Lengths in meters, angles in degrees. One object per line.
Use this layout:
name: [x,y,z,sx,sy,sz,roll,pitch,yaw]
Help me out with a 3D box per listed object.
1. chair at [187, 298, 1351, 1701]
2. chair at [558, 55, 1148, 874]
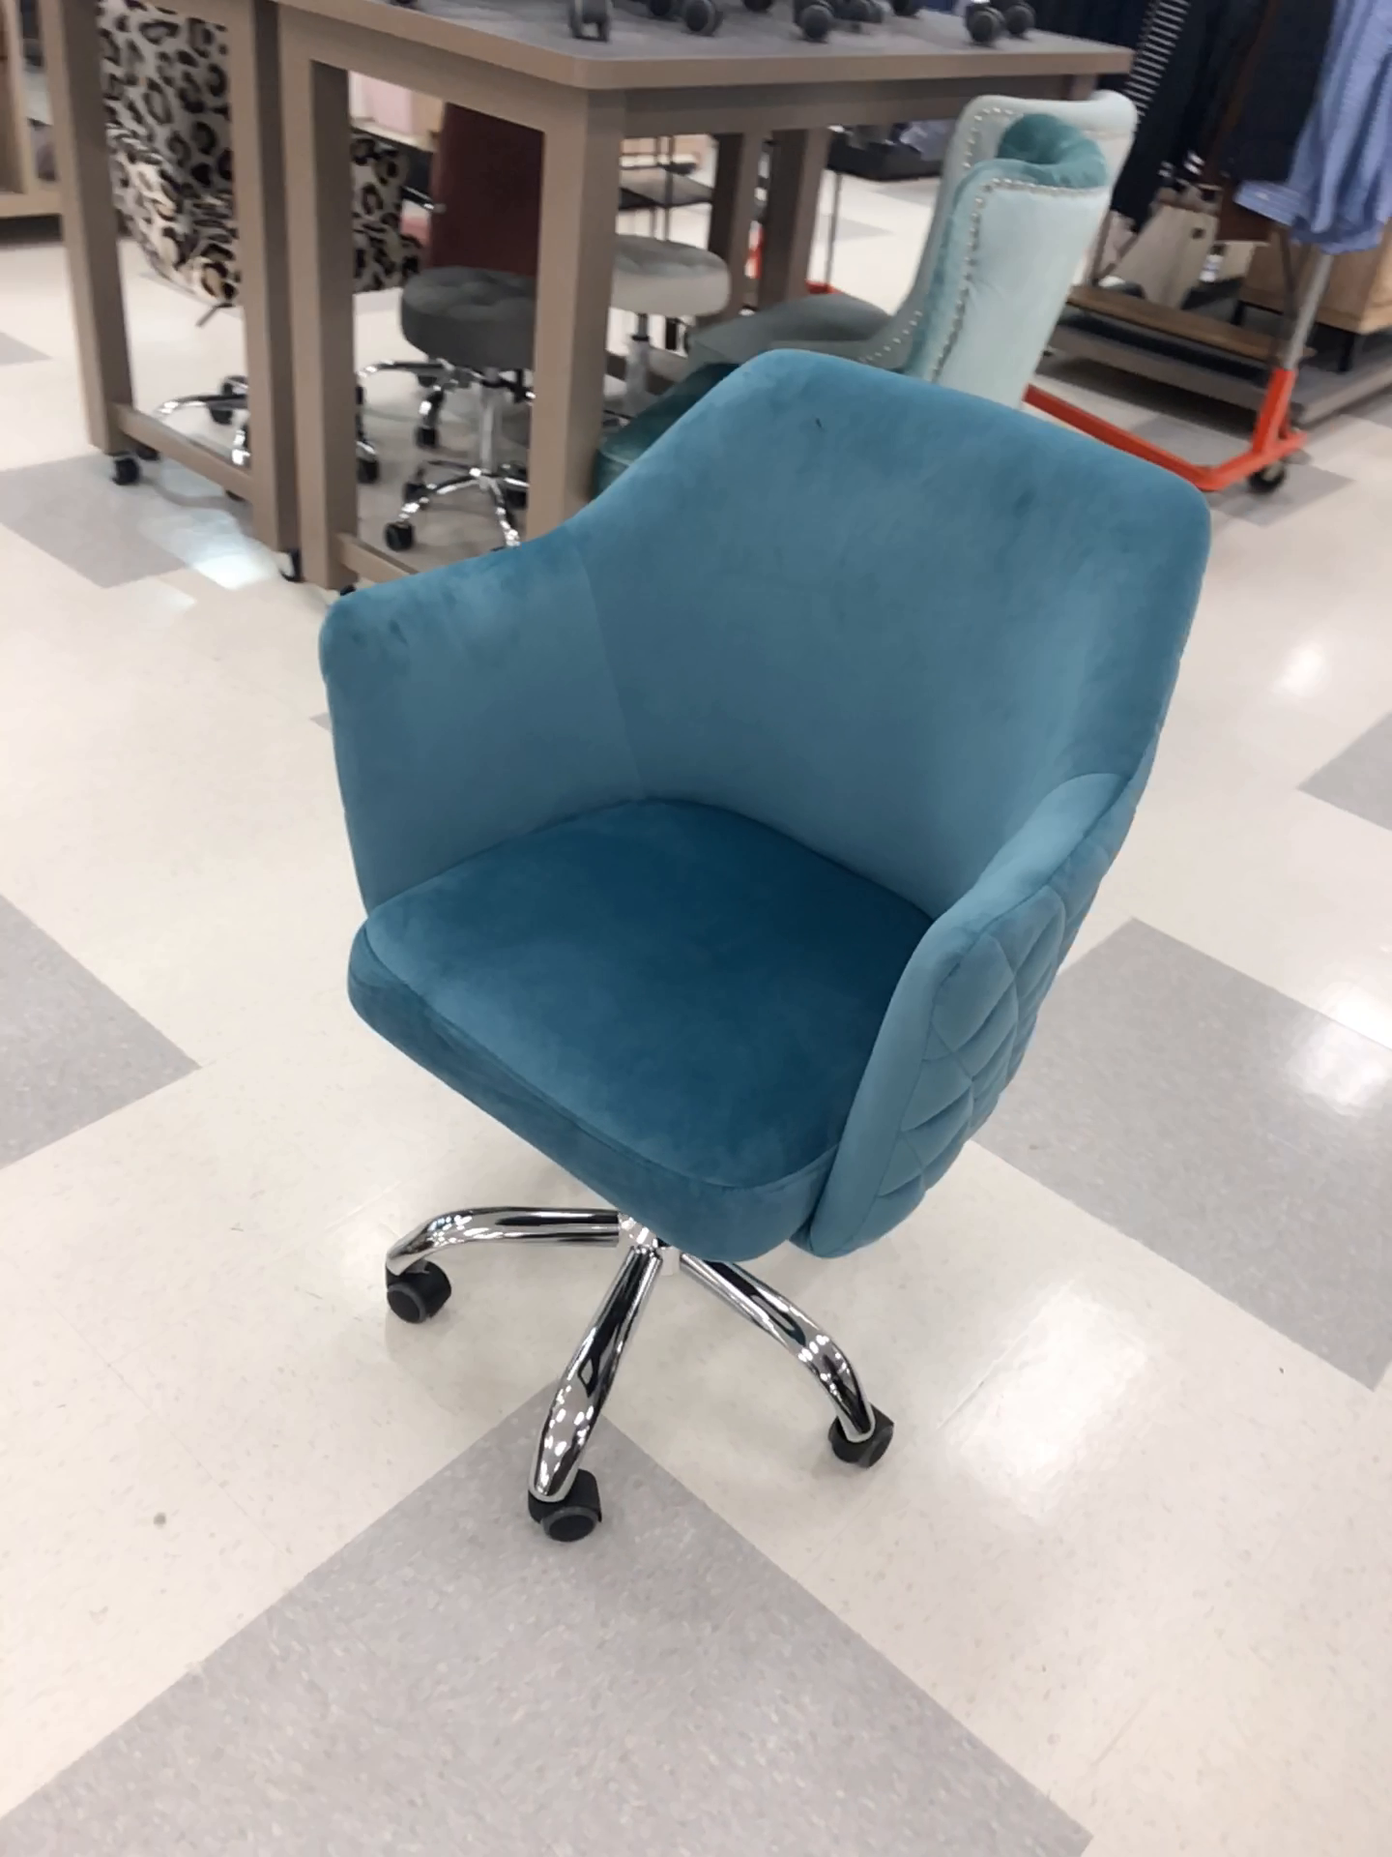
chair: [0.013,0.025,1.316,0.595,0.888,0.564,32,42,31]
chair: [0.242,-0.753,2.413,0.651,0.967,0.739,14,36,9]
